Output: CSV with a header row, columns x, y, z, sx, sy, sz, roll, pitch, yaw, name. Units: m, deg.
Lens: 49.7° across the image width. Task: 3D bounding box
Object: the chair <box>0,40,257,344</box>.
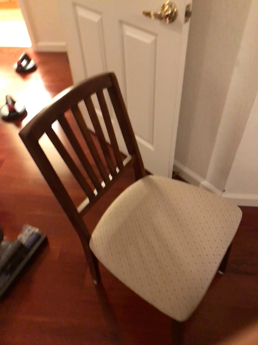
x,y,z,sx,sy,sz,roll,pitch,yaw,name
0.079,0.168,0.952,0.561,0.924,0.503,27,56,27,chair
